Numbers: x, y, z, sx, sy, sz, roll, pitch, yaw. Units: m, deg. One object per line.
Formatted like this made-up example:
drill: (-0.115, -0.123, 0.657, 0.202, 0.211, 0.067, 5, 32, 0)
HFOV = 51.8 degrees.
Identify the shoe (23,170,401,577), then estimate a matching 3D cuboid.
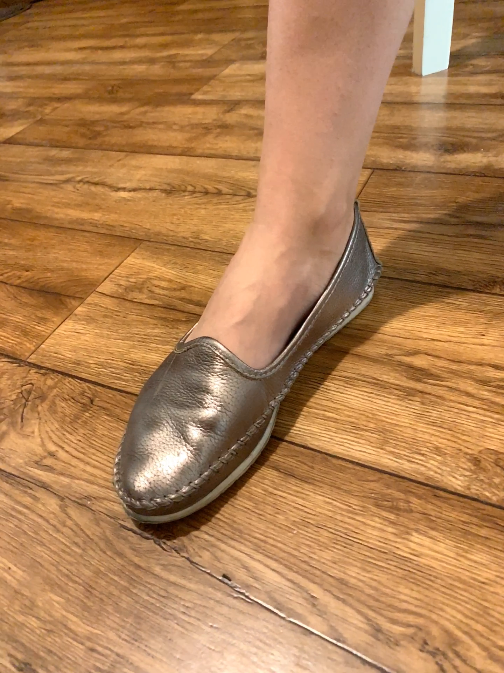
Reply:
shoe: (-0.007, 0.005, 0.315, 0.096, 0.070, 0.230, 22, 62, 32)
